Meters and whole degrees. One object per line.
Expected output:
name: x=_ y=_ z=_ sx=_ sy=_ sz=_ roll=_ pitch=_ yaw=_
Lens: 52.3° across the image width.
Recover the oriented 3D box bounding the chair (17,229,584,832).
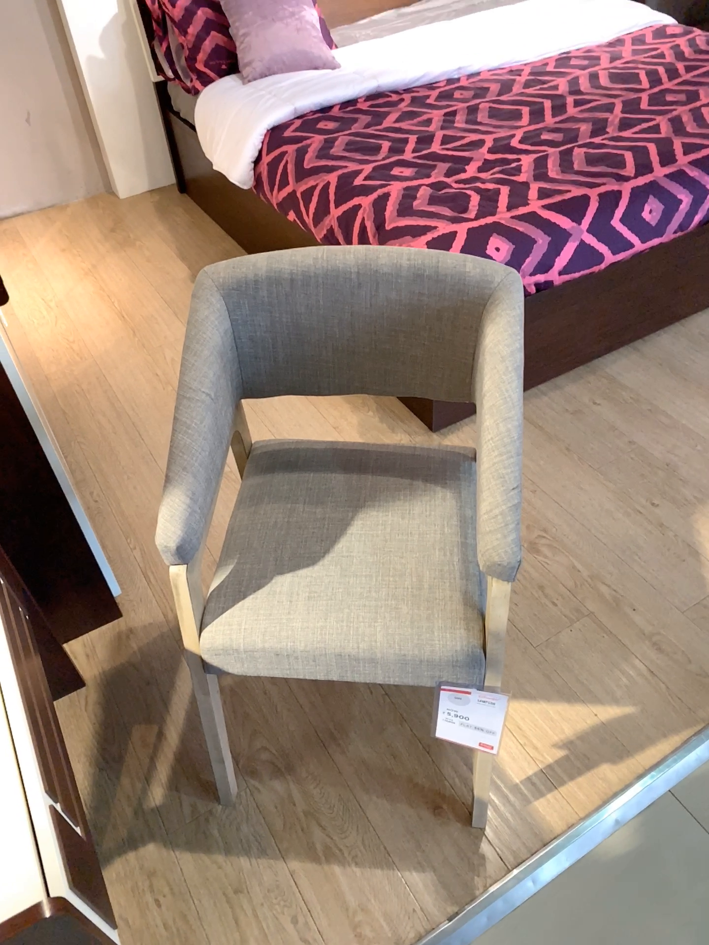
chair: x=-0.011 y=0.118 z=1.186 sx=0.560 sy=0.797 sz=0.582 roll=1 pitch=45 yaw=7
